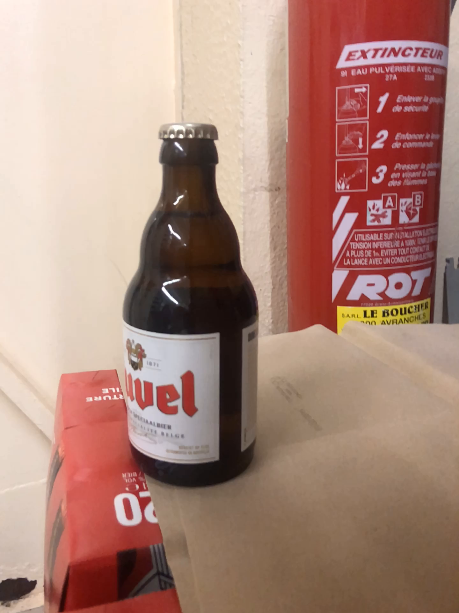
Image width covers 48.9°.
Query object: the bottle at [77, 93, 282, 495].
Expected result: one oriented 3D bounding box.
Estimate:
[{"bbox_3d":[-0.026,-0.010,0.262,0.070,0.169,0.080,-8,14,-32],"label":"bottle"}]
